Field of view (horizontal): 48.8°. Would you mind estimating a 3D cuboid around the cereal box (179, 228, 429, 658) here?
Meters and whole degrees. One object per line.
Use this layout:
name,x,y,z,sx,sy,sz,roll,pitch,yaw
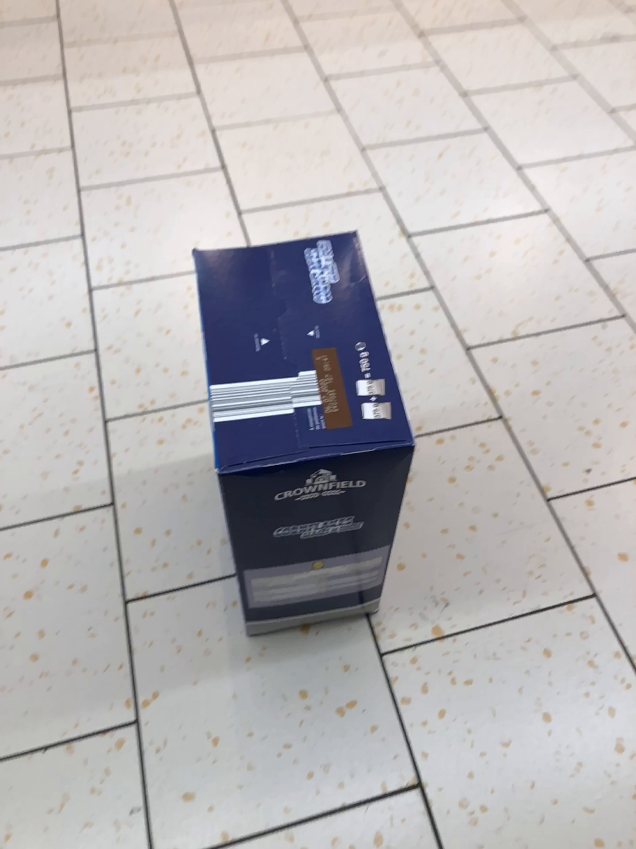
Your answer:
cereal box,-0.019,0.025,0.547,0.130,0.259,0.211,-7,54,-5
